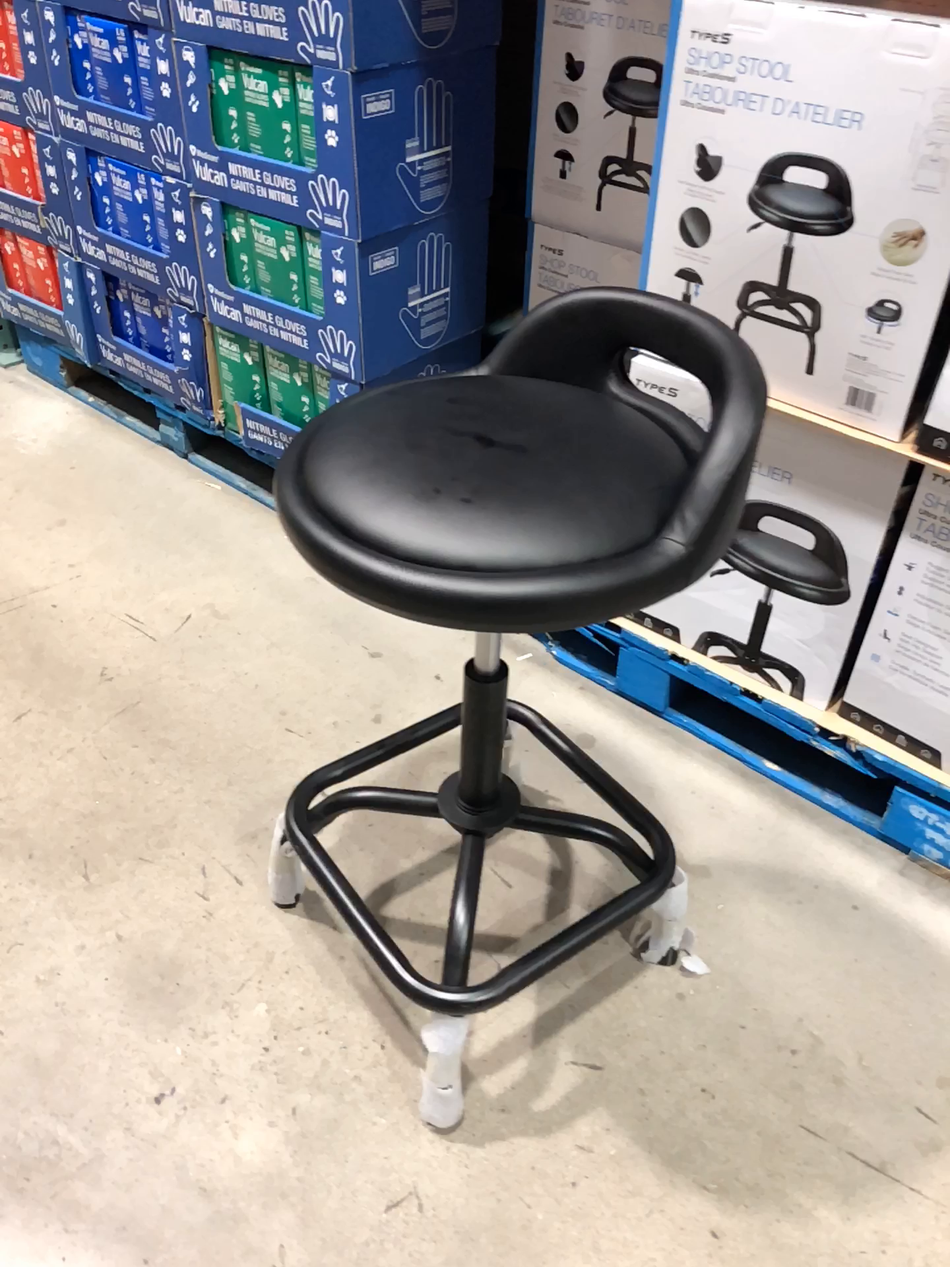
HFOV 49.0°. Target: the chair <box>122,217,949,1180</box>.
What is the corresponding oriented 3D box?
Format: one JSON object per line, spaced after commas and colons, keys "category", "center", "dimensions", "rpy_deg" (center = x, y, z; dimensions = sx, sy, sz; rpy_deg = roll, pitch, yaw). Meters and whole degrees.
{"category": "chair", "center": [0.029, 0.048, 1.101], "dimensions": [0.511, 0.747, 0.481], "rpy_deg": [-23, 45, -29]}
